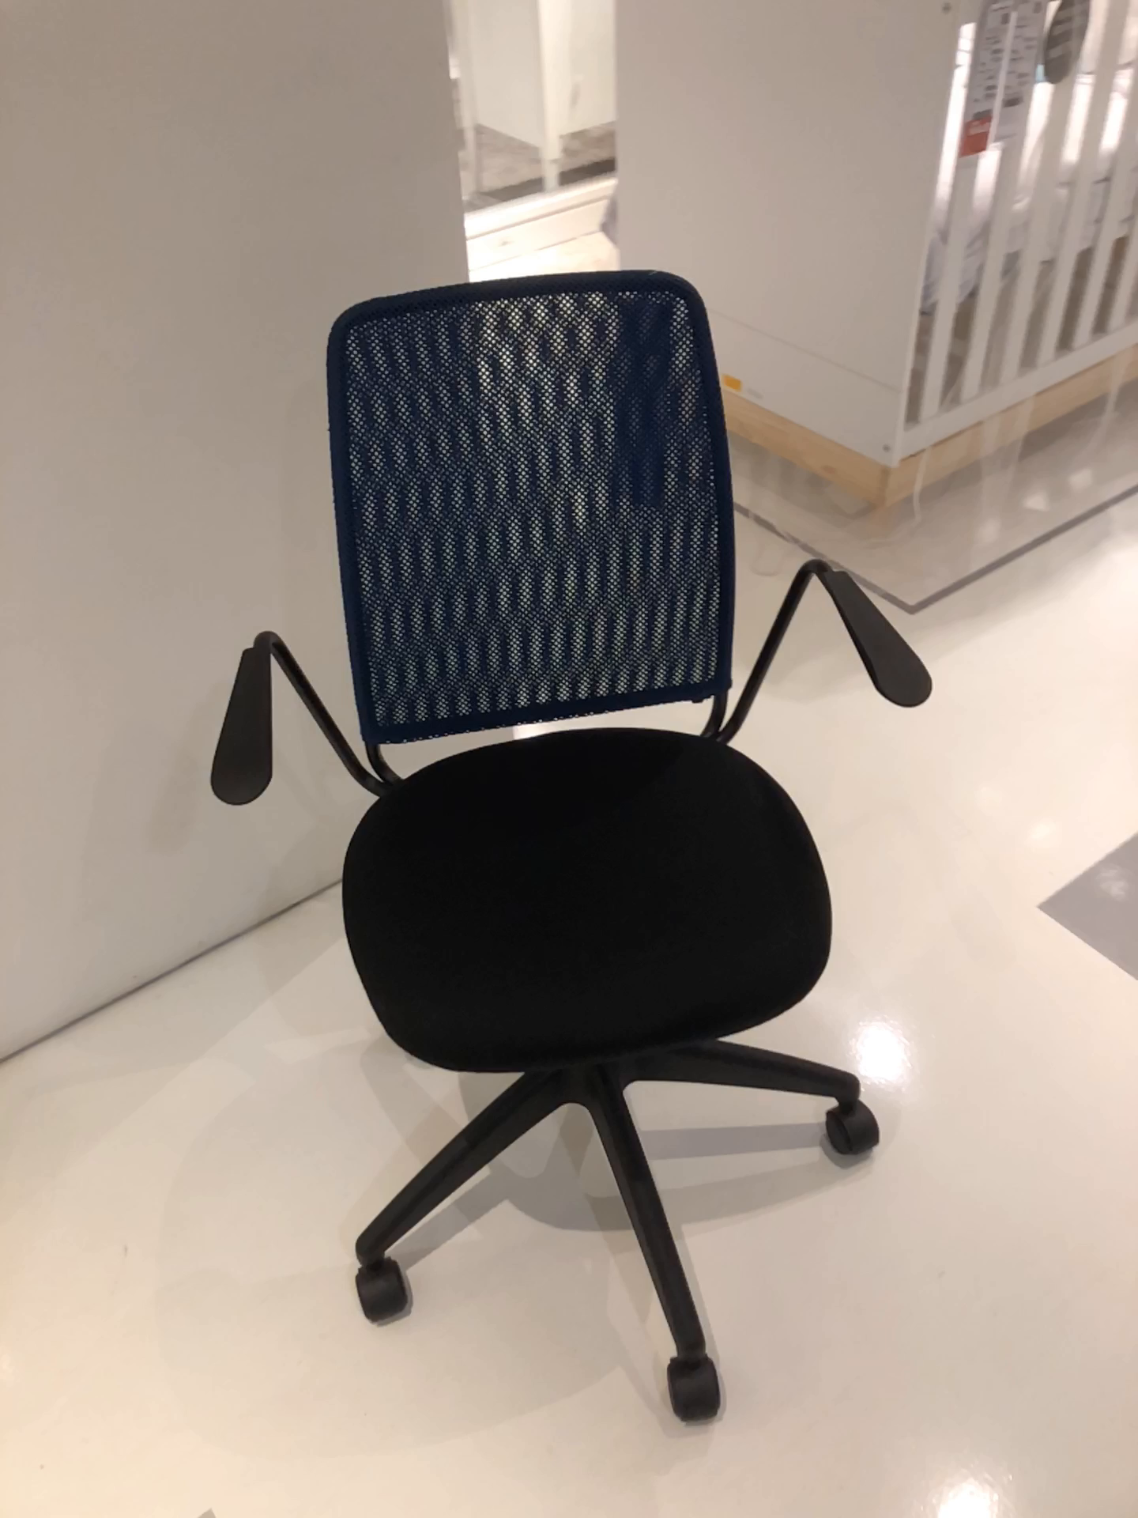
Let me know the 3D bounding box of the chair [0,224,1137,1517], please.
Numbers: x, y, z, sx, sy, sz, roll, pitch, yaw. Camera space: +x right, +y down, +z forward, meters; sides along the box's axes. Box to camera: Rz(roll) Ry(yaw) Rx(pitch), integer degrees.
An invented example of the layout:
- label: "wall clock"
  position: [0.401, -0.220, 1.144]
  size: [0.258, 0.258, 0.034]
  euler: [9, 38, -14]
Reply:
- label: "chair"
  position: [-0.007, 0.115, 1.183]
  size: [0.660, 0.923, 0.705]
  euler: [-7, 42, -4]
